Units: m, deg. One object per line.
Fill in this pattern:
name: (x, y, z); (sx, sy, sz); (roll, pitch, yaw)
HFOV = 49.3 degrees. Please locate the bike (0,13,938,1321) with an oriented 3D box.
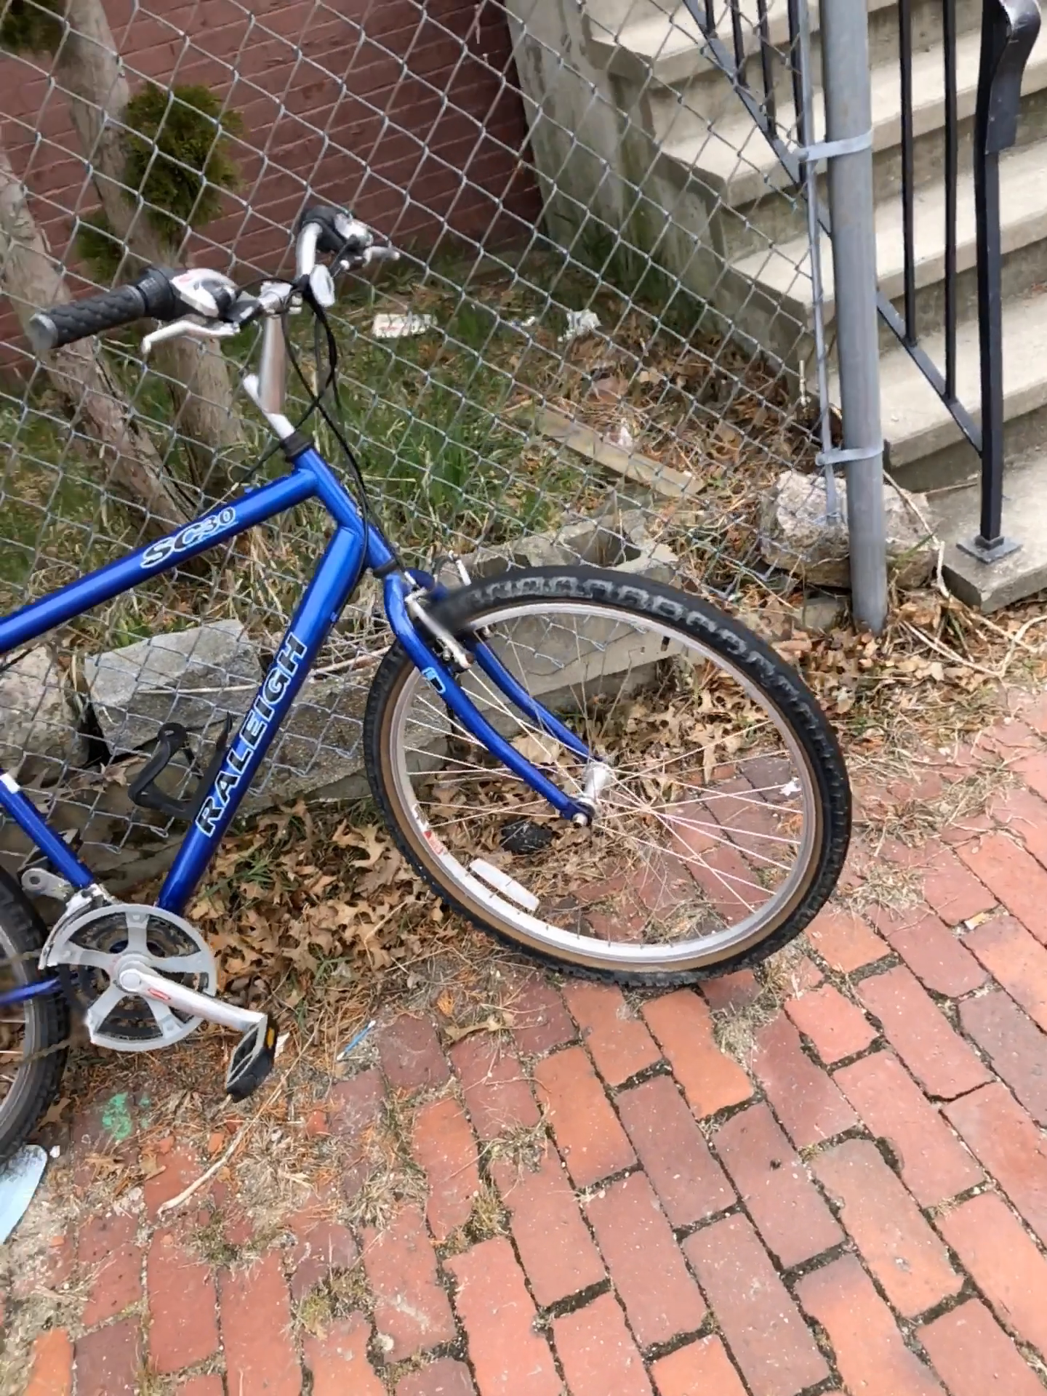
bike: (-0.488, 0.006, 1.412); (1.663, 1.024, 0.684); (-15, 34, 4)
